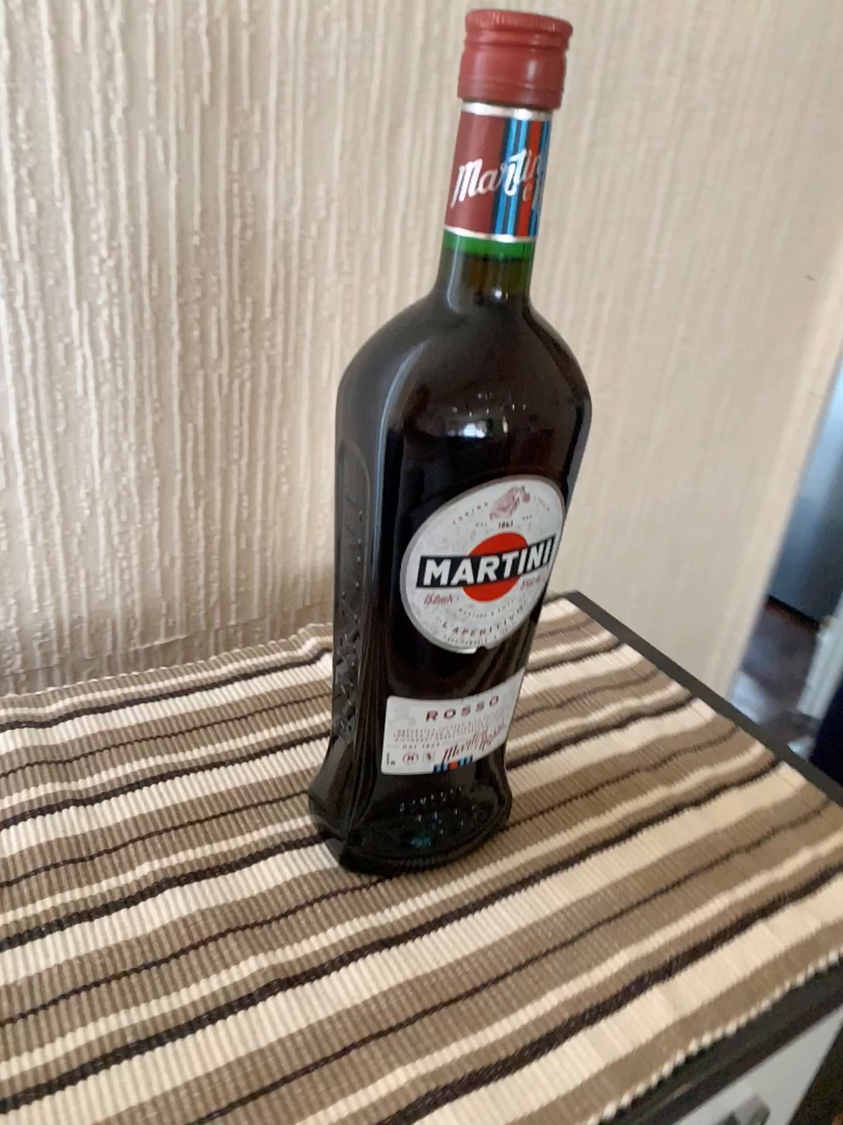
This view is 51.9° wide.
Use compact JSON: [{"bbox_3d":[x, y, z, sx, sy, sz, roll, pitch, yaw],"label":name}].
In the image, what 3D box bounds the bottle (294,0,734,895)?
[{"bbox_3d":[0.016,-0.025,0.308,0.090,0.297,0.060,-9,31,-29],"label":"bottle"}]
